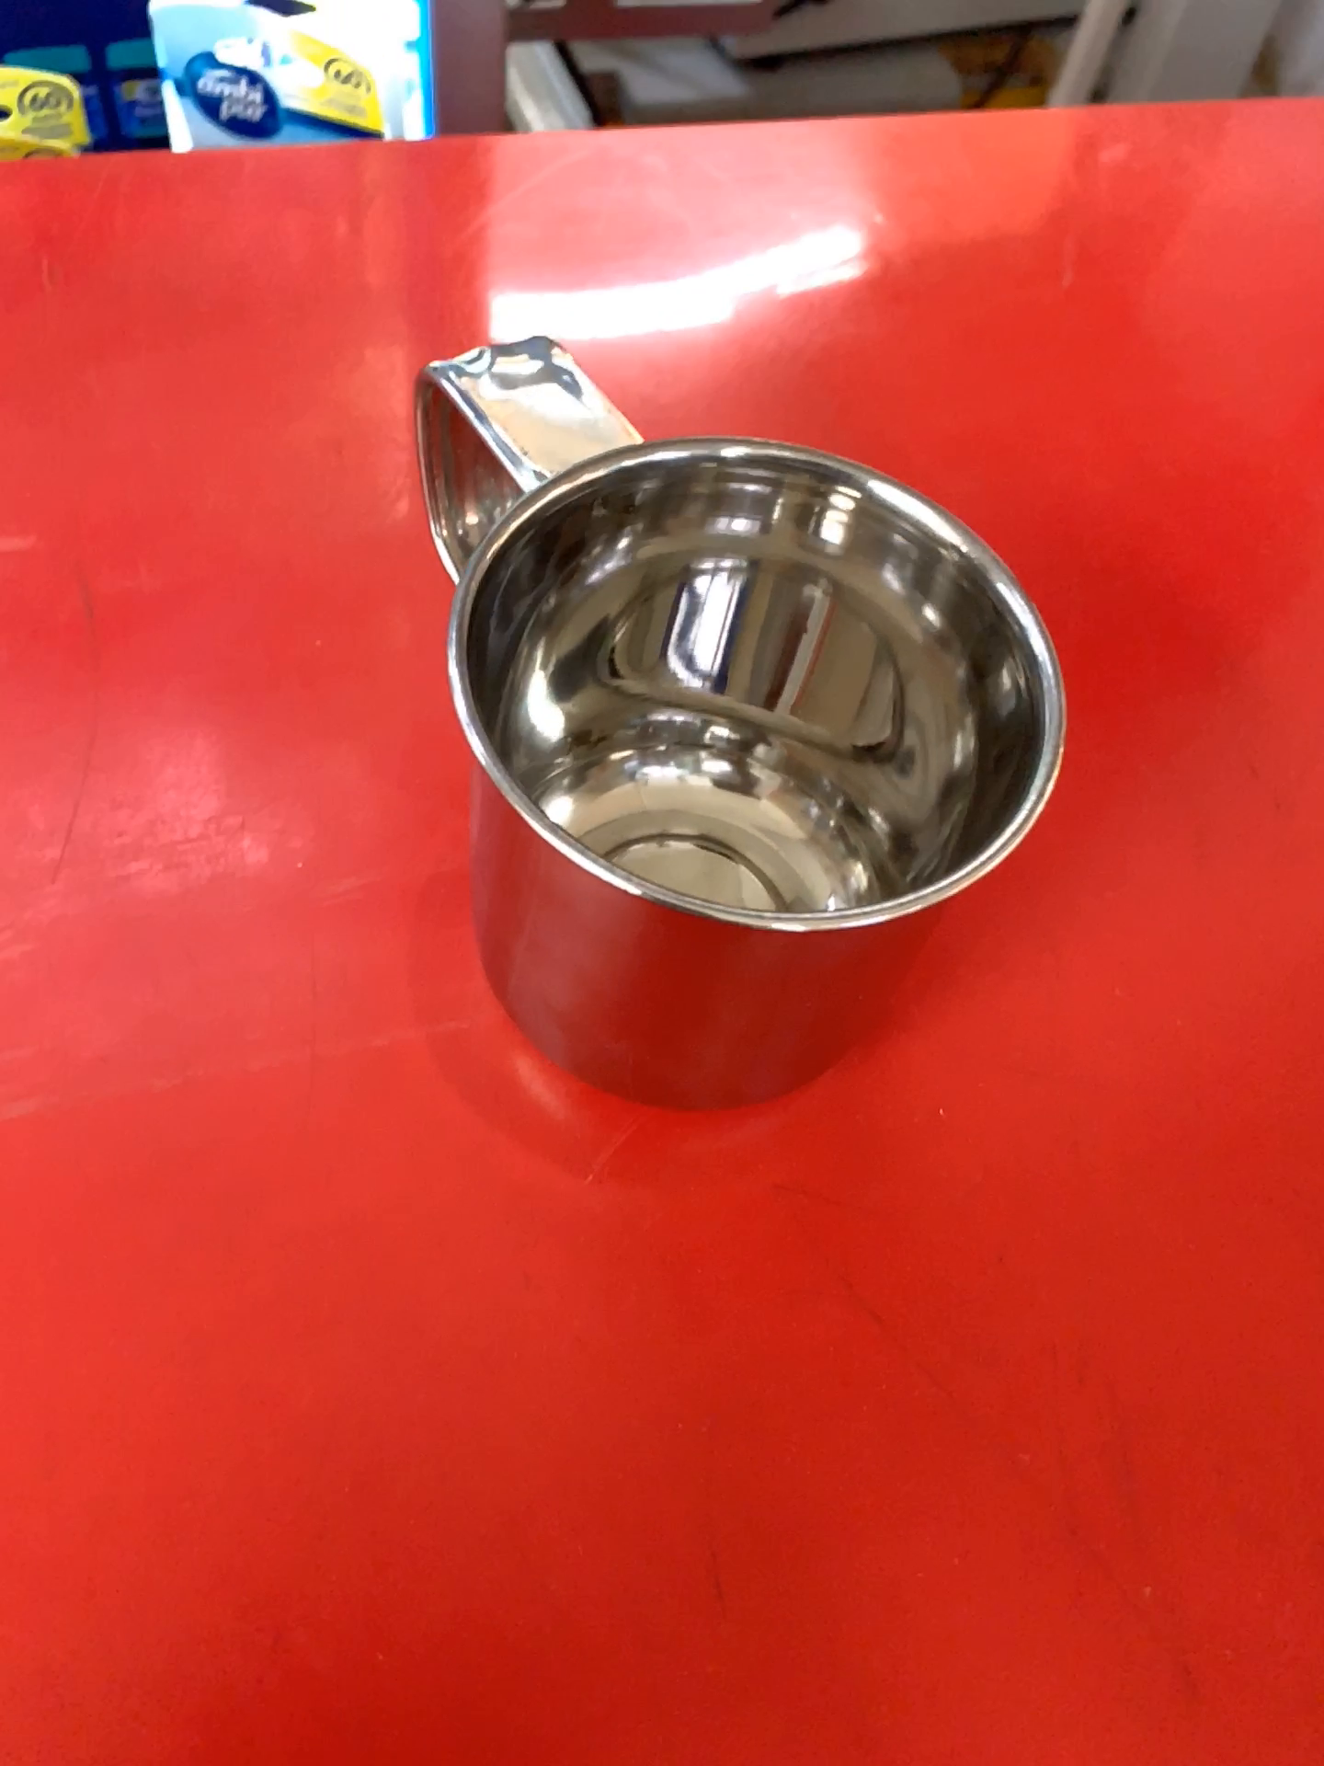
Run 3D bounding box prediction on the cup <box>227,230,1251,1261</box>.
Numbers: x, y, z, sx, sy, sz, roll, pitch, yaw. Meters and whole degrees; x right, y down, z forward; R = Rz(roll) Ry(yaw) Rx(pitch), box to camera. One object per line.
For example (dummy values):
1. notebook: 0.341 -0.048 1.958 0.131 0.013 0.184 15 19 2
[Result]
1. cup: 0.003 -0.023 0.202 0.080 0.070 0.110 -27 65 -22
